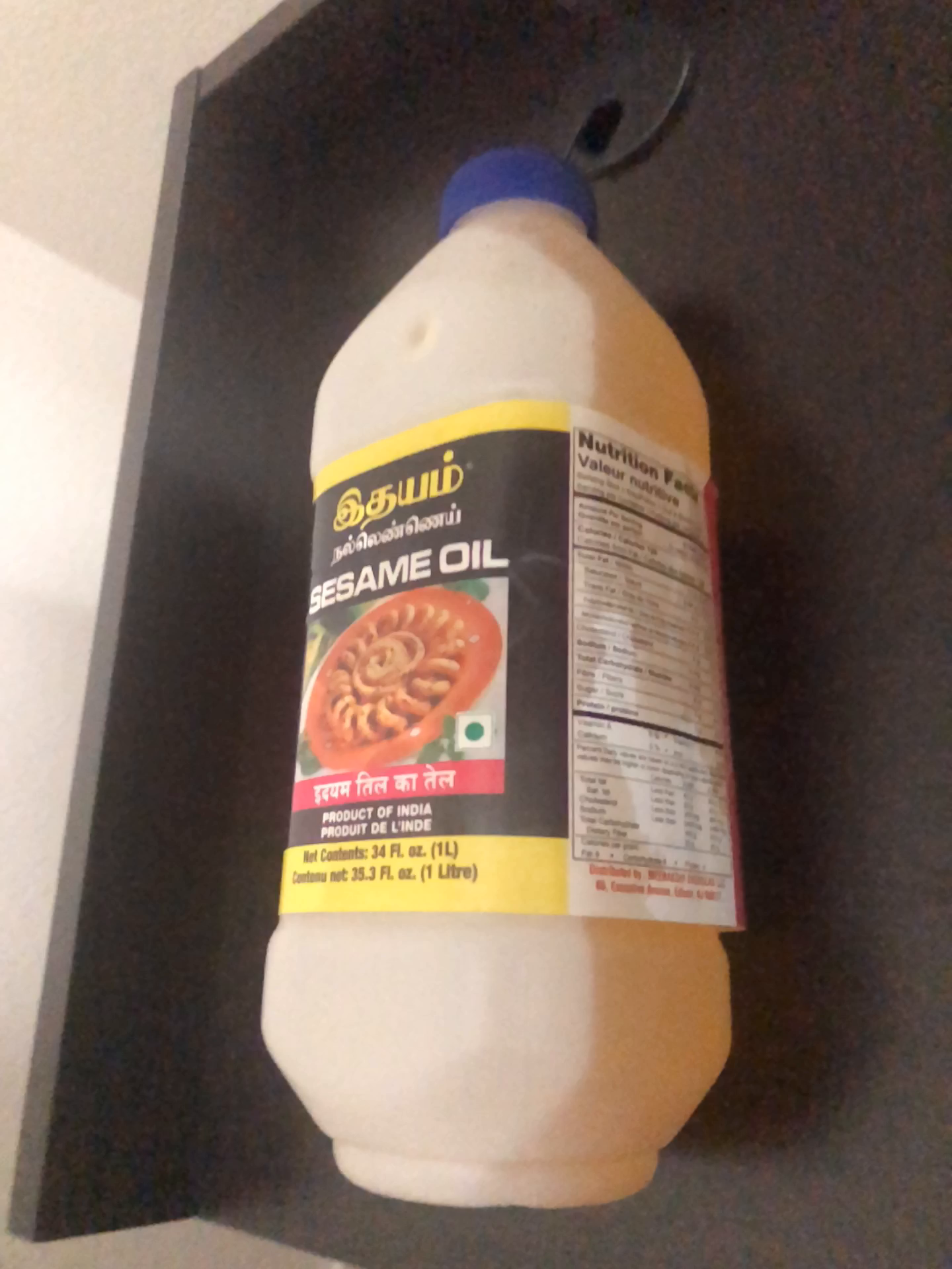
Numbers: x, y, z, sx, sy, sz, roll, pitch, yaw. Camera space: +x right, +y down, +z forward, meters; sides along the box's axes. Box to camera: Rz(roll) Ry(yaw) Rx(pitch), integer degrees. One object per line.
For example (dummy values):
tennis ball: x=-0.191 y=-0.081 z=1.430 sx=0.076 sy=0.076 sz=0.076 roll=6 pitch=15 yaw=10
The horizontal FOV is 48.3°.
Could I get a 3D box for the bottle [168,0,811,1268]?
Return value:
bottle: x=0.009 y=-0.006 z=0.246 sx=0.091 sy=0.090 sz=0.250 roll=-12 pitch=67 yaw=39
